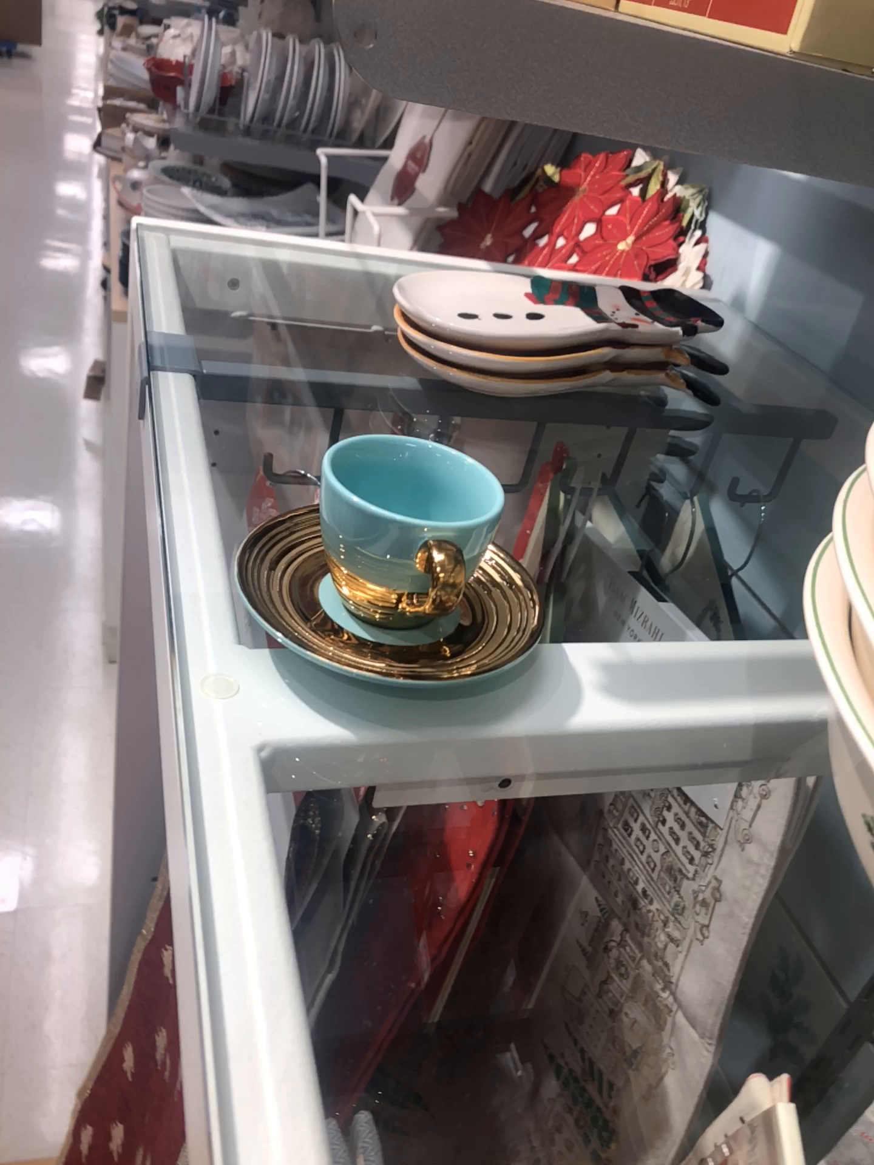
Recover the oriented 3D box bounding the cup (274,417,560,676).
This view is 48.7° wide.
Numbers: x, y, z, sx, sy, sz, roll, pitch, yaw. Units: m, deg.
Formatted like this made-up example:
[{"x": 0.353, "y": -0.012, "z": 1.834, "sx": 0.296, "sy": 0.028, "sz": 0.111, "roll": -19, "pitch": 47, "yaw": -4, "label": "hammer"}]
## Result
[{"x": -0.012, "y": -0.016, "z": 0.339, "sx": 0.070, "sy": 0.050, "sz": 0.084, "roll": -1, "pitch": 35, "yaw": -22, "label": "cup"}]
